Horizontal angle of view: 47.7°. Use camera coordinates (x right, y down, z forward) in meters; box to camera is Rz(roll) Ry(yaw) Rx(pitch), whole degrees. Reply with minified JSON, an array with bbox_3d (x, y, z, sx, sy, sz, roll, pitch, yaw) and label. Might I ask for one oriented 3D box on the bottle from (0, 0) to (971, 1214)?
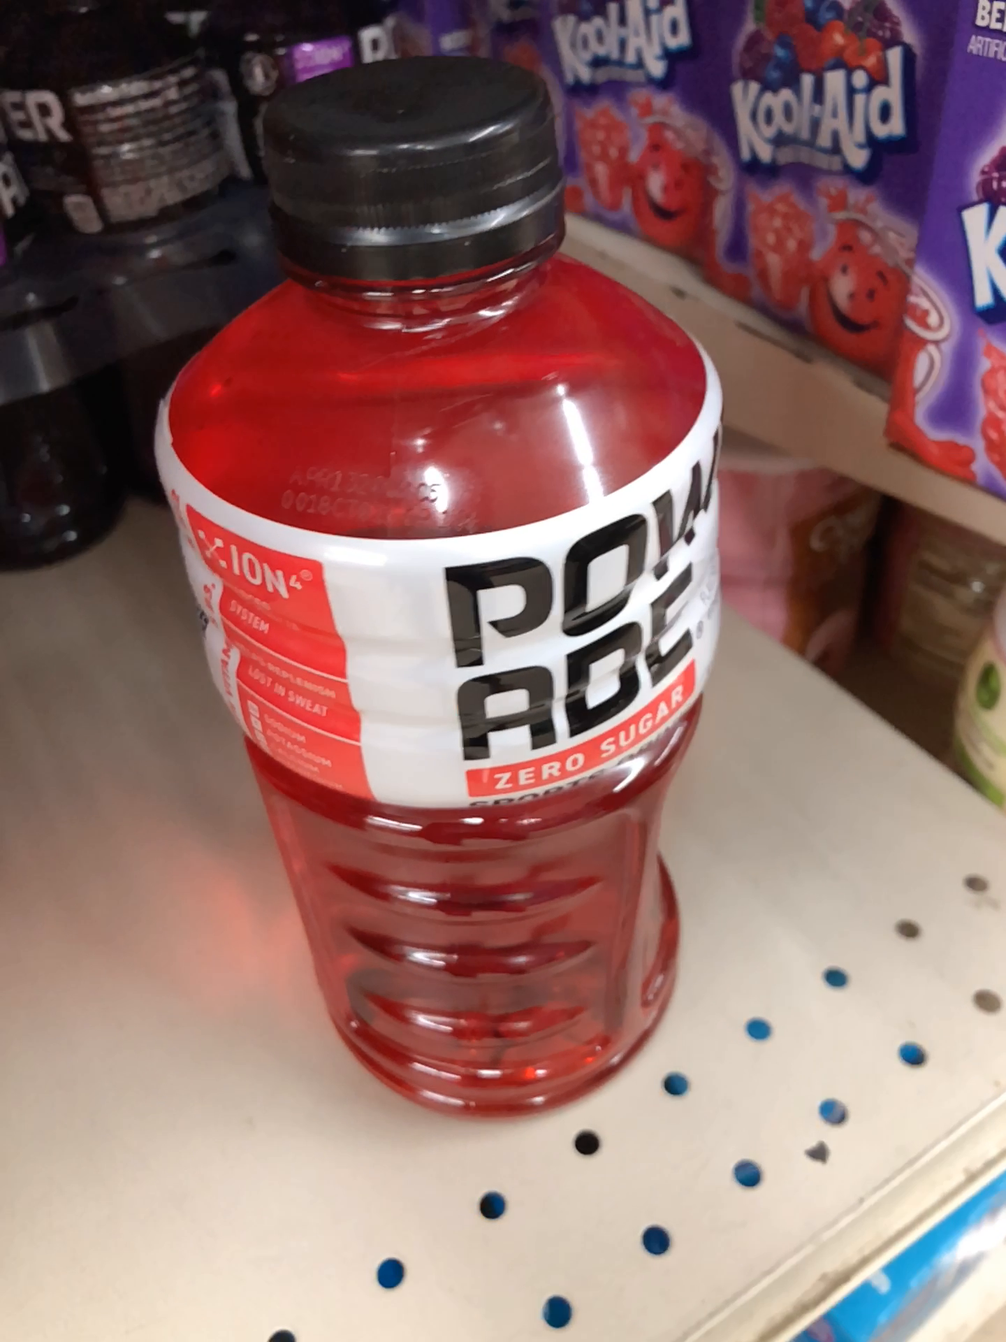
[{"bbox_3d":[-0.004,-0.008,0.211,0.095,0.190,0.095,-2,43,2],"label":"bottle"}]
